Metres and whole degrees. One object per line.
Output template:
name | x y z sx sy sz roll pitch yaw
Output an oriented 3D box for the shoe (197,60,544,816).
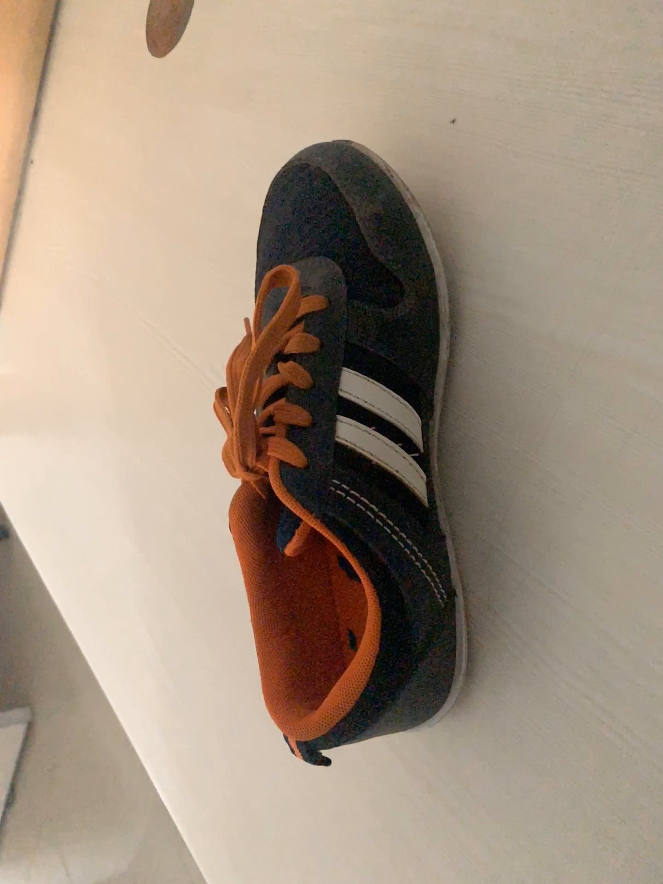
shoe | 0.009 -0.002 0.286 0.101 0.080 0.250 -13 78 46
